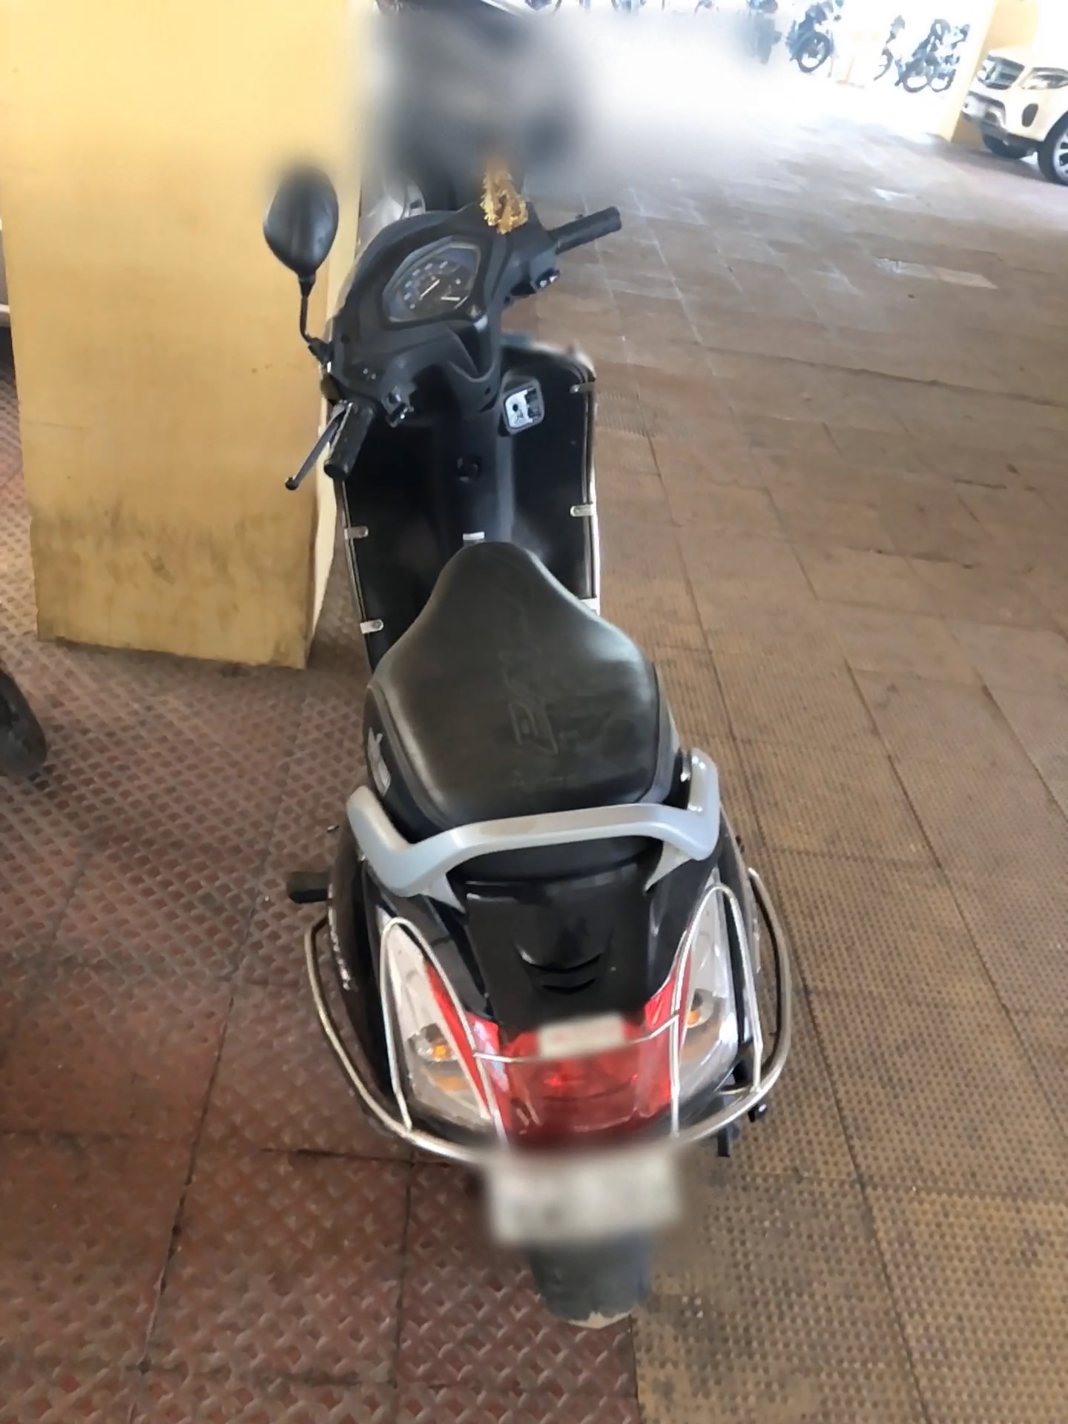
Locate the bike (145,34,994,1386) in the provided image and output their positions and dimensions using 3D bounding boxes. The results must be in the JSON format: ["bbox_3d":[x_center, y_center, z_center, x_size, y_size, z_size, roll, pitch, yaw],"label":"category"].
[{"bbox_3d":[-0.212,-0.114,1.708,0.608,1.172,1.447,-2,38,-18],"label":"bike"}]
